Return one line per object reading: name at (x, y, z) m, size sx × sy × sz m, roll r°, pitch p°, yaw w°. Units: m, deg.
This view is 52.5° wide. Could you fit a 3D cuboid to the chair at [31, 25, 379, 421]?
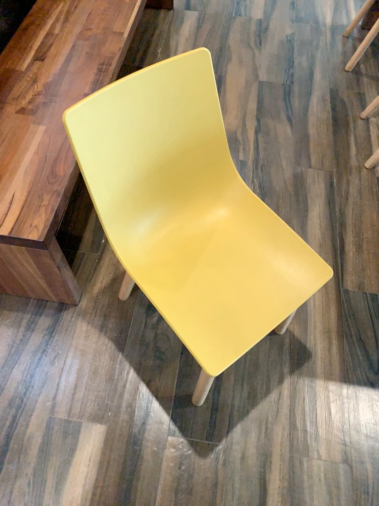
chair at (0.054, -0.003, 0.937) m, size 0.451 × 0.716 × 0.501 m, roll -35°, pitch 67°, yaw -20°
